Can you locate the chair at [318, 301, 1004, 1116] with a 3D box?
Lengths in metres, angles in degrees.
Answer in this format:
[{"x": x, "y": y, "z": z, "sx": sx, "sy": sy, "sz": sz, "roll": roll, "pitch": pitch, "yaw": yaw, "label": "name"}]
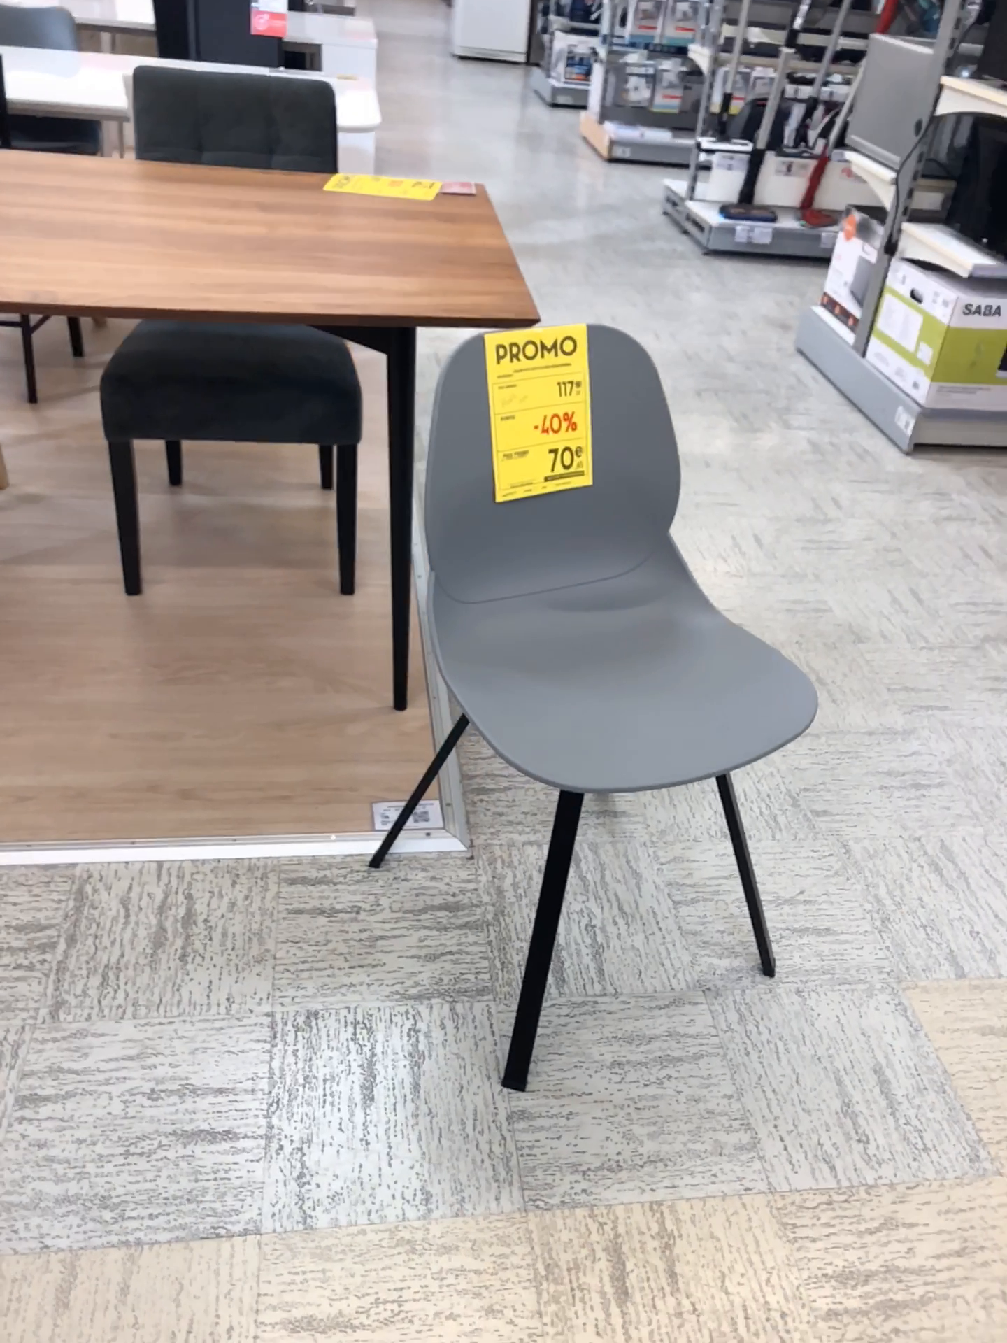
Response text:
[{"x": 0.116, "y": 0.006, "z": 1.423, "sx": 0.512, "sy": 0.755, "sz": 0.581, "roll": -15, "pitch": 39, "yaw": -28, "label": "chair"}]
